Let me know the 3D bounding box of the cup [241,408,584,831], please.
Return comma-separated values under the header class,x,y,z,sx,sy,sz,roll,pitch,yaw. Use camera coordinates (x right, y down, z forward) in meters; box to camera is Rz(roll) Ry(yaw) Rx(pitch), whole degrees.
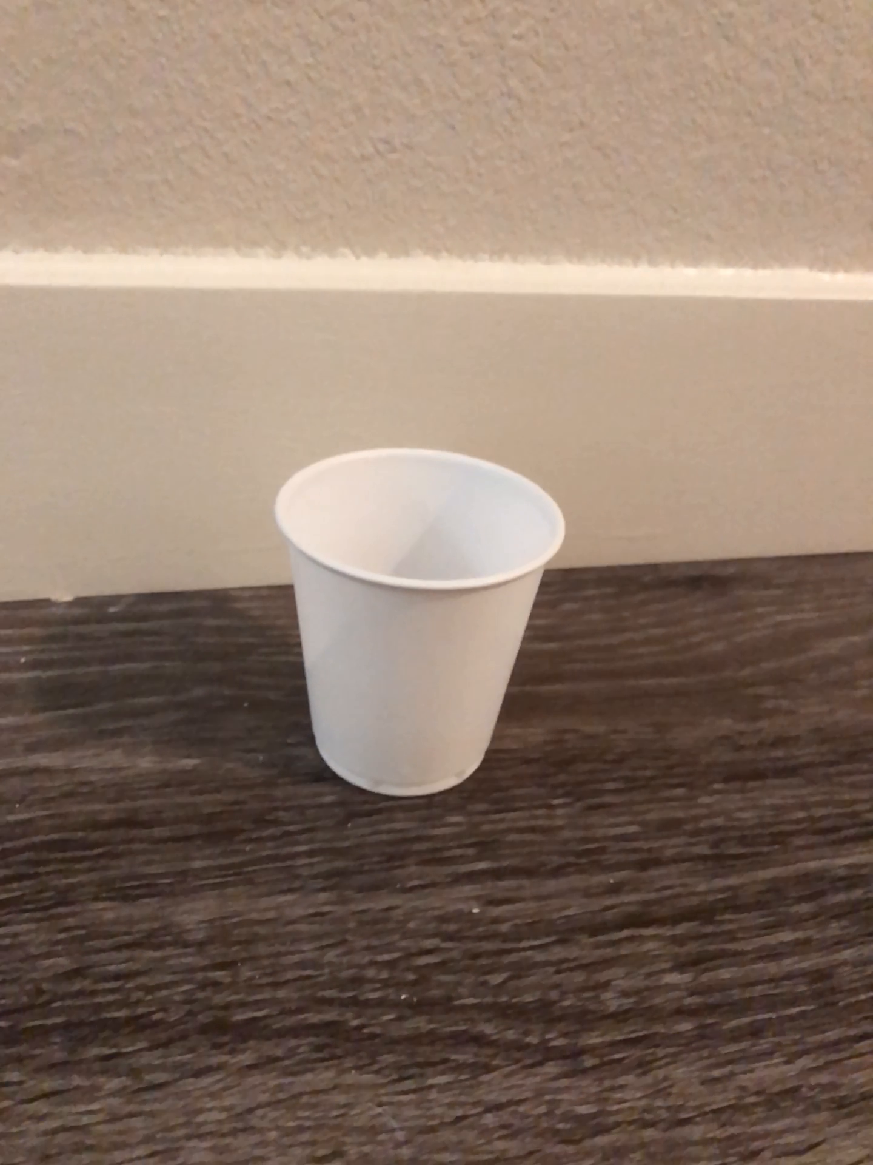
class,x,y,z,sx,sy,sz,roll,pitch,yaw
cup,-0.003,0.005,0.211,0.060,0.060,0.060,4,31,-2
